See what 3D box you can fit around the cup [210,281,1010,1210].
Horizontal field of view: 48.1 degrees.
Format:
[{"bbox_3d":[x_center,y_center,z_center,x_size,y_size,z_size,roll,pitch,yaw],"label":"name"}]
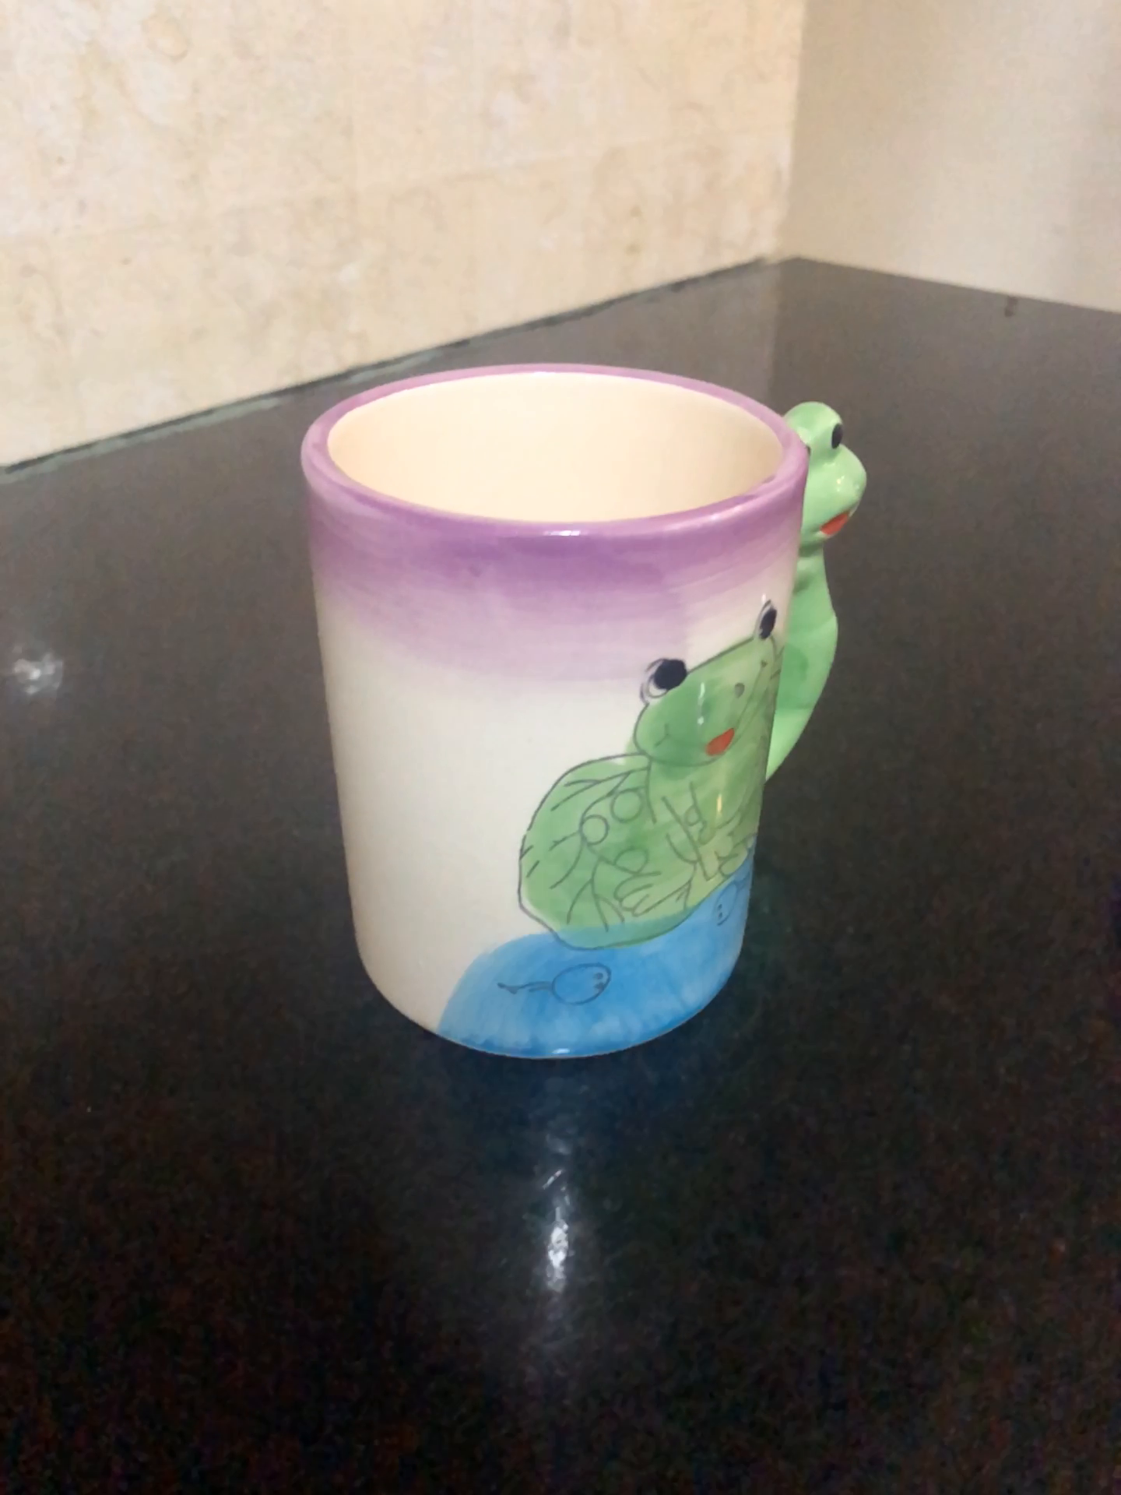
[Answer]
[{"bbox_3d":[0.014,-0.011,0.224,0.080,0.109,0.111,18,36,26],"label":"cup"}]
